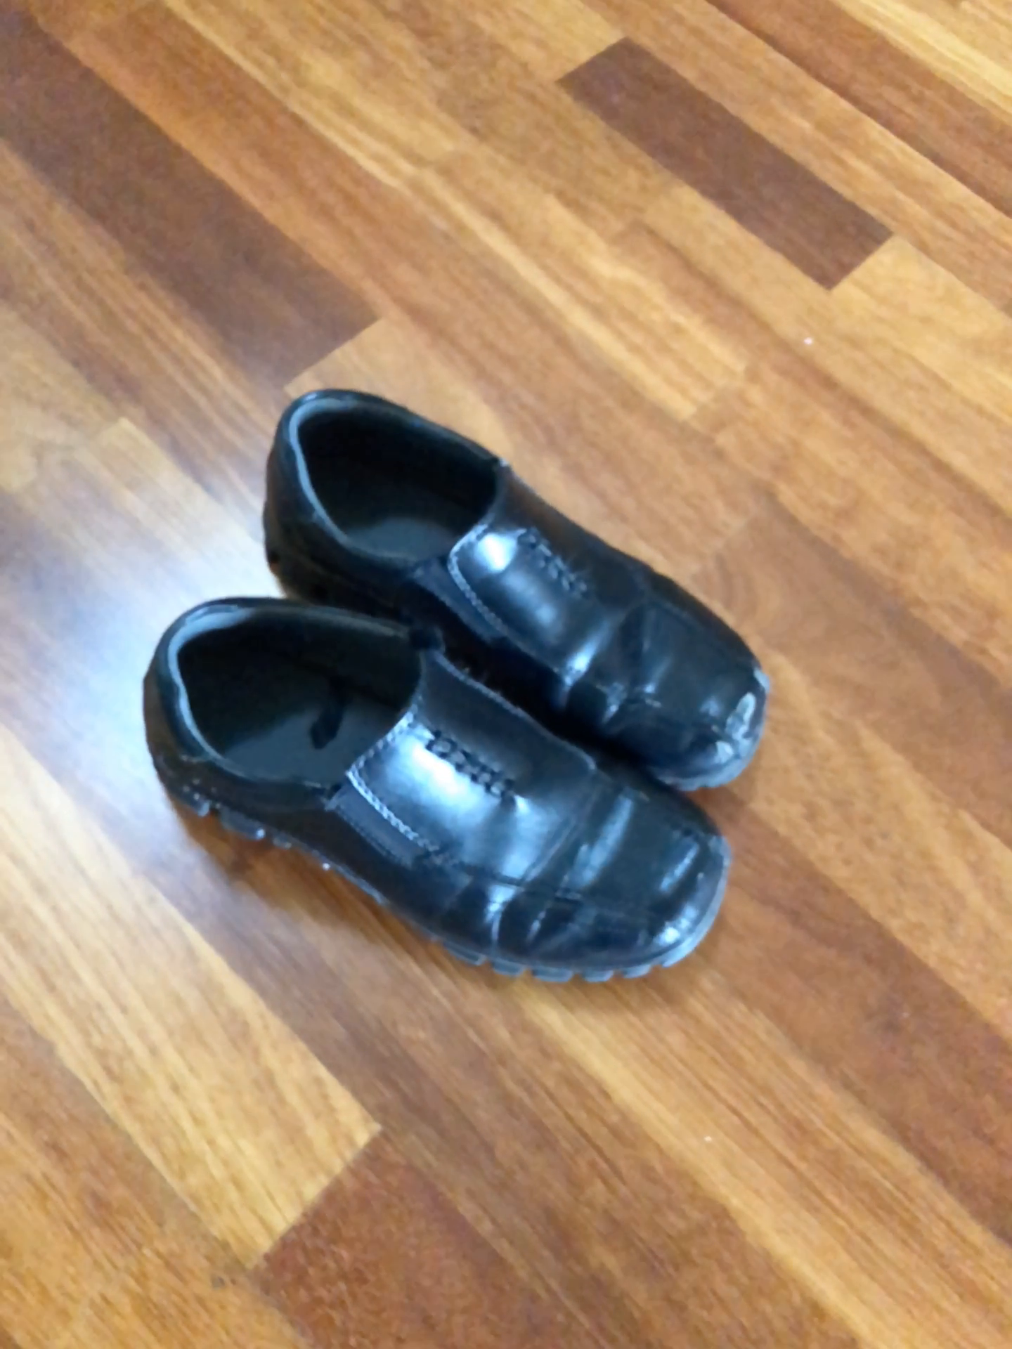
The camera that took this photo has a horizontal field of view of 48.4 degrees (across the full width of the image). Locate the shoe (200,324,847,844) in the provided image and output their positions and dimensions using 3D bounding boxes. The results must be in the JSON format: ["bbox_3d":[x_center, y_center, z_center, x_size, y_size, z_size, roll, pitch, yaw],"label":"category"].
[{"bbox_3d":[0.004,-0.037,0.460,0.232,0.075,0.091,29,65,6],"label":"shoe"}]

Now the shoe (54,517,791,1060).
[{"bbox_3d":[-0.029,0.043,0.416,0.232,0.075,0.094,24,64,4],"label":"shoe"}]
